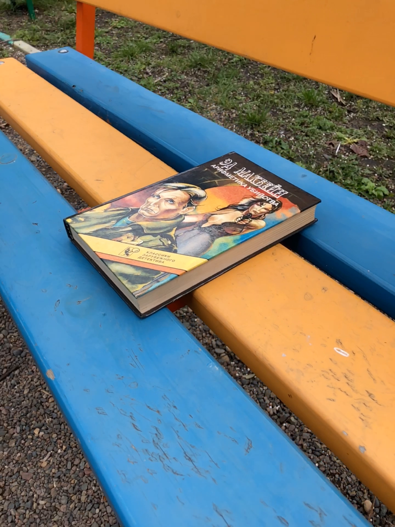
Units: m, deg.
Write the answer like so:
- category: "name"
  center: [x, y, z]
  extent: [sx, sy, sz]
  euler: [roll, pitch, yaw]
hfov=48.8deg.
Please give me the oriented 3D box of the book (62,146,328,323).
- category: "book"
  center: [-0.001, -0.044, 0.416]
  extent: [0.210, 0.030, 0.136]
  euler: [-28, 47, -26]
